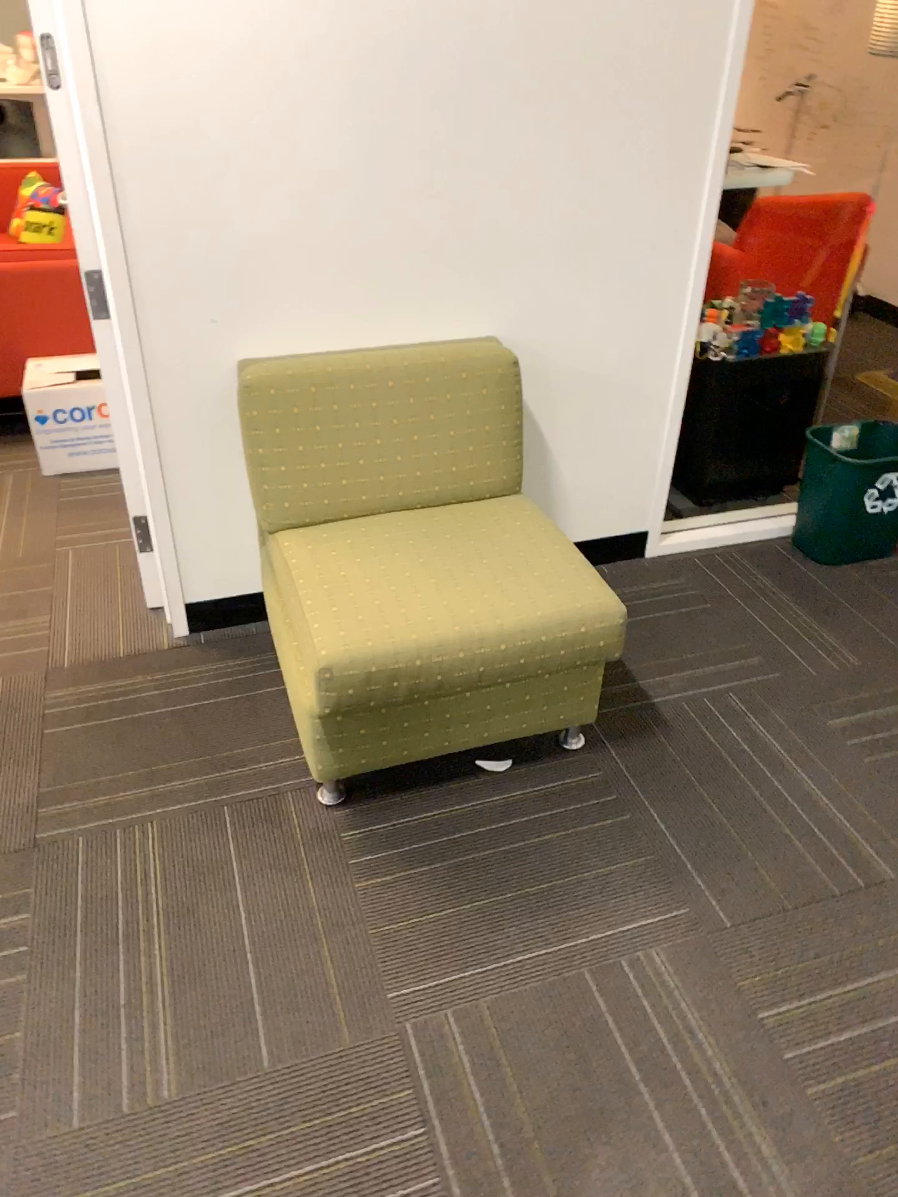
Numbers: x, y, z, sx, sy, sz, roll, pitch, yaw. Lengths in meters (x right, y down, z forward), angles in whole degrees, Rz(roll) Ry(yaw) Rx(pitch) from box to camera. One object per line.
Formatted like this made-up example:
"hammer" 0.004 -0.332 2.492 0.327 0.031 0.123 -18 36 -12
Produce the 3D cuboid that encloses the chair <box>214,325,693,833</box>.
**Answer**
"chair" -0.053 -0.101 1.969 0.730 0.686 0.785 -10 36 -15
